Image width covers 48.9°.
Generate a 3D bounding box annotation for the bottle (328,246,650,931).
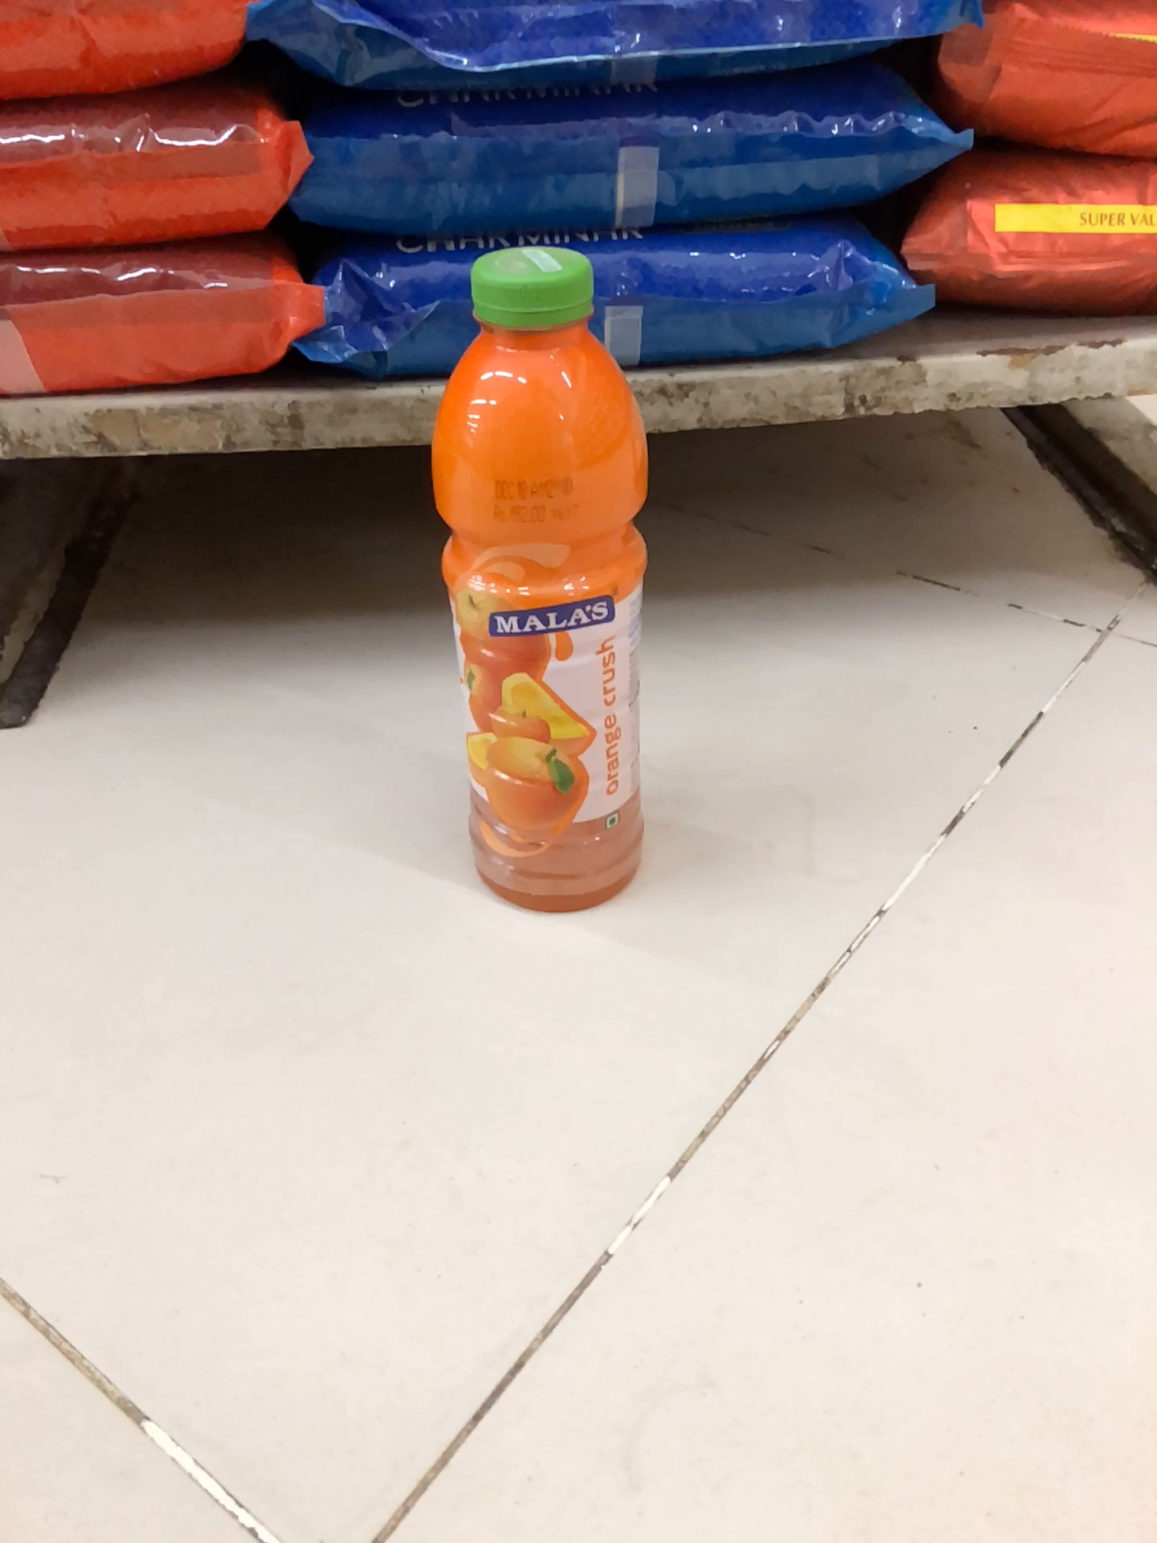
[{"bbox_3d":[-0.021,-0.061,0.480,0.090,0.238,0.091,-1,37,1],"label":"bottle"}]
